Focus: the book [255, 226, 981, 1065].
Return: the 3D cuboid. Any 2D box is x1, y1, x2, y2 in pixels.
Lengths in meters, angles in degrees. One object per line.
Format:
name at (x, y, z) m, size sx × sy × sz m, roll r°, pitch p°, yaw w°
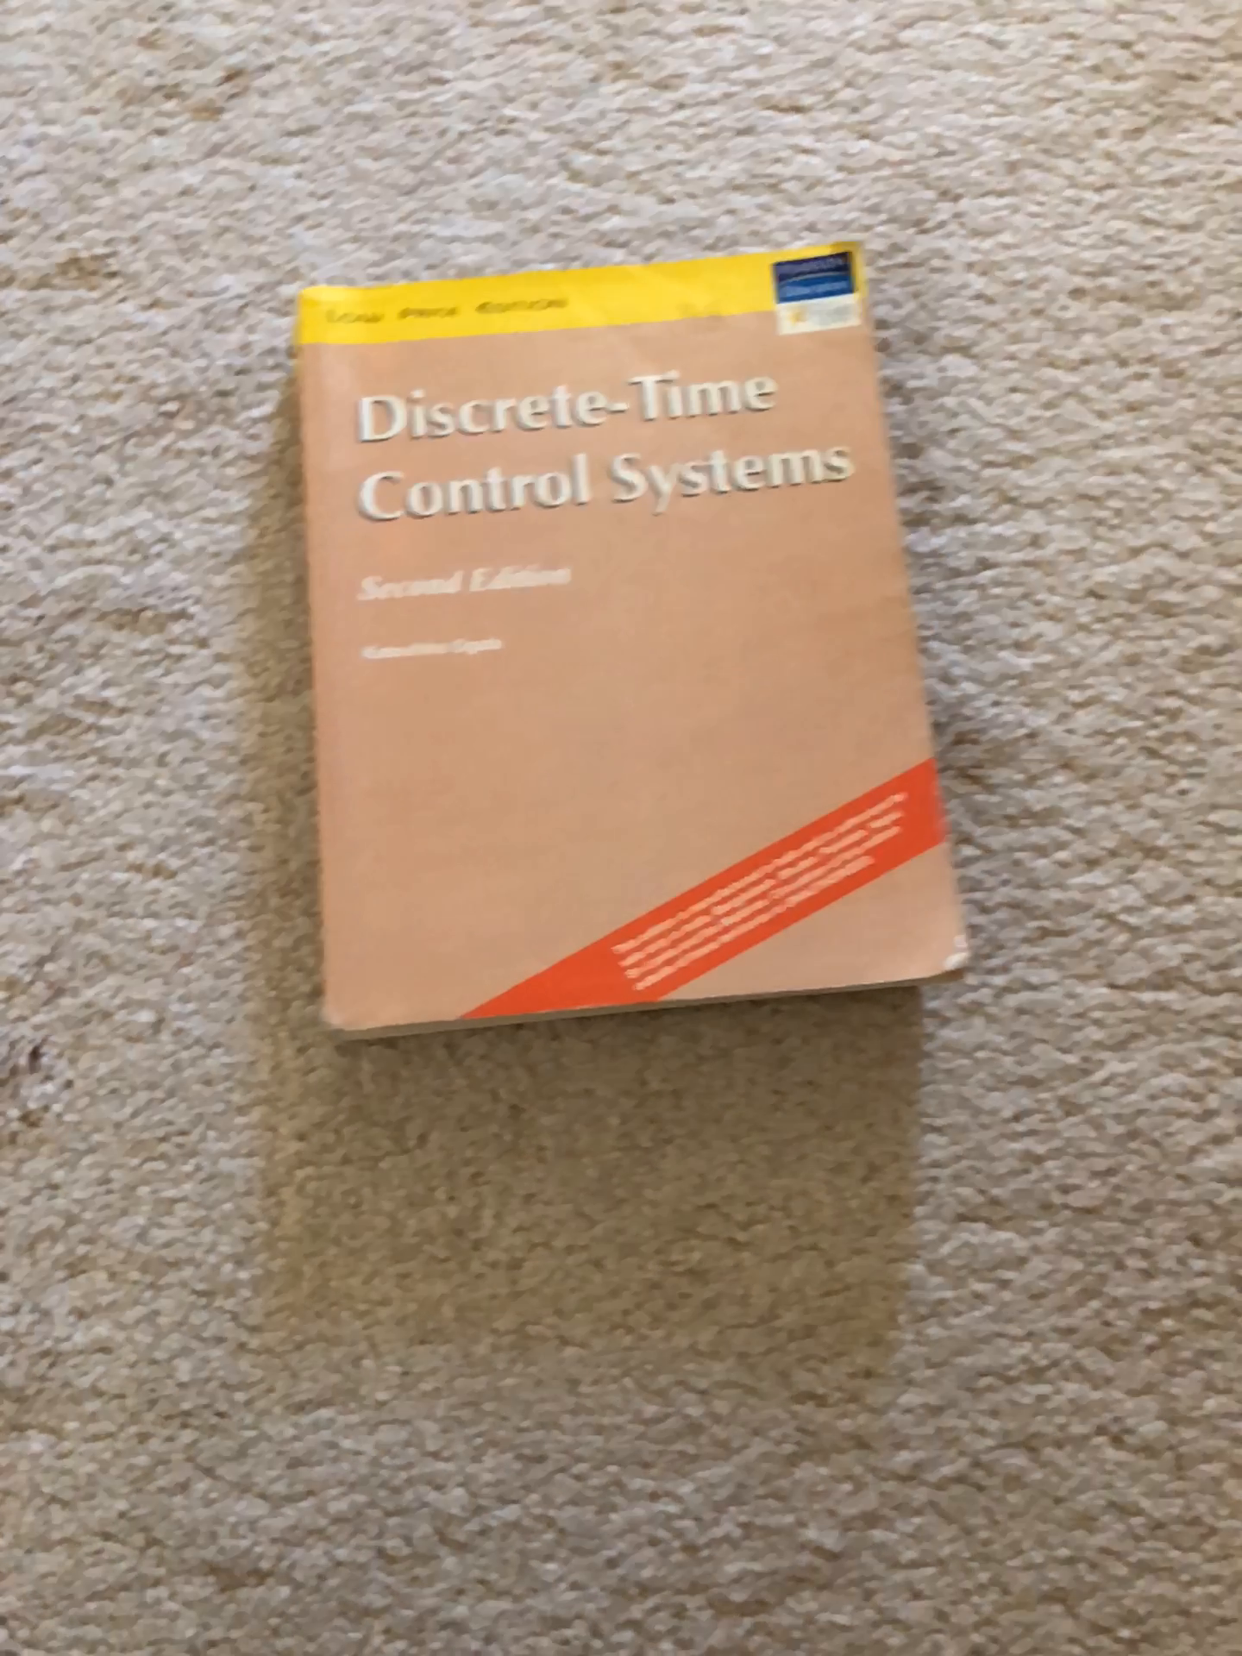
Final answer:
book at (-0.008, -0.059, 0.415) m, size 0.186 × 0.035 × 0.238 m, roll -6°, pitch 76°, yaw -2°
